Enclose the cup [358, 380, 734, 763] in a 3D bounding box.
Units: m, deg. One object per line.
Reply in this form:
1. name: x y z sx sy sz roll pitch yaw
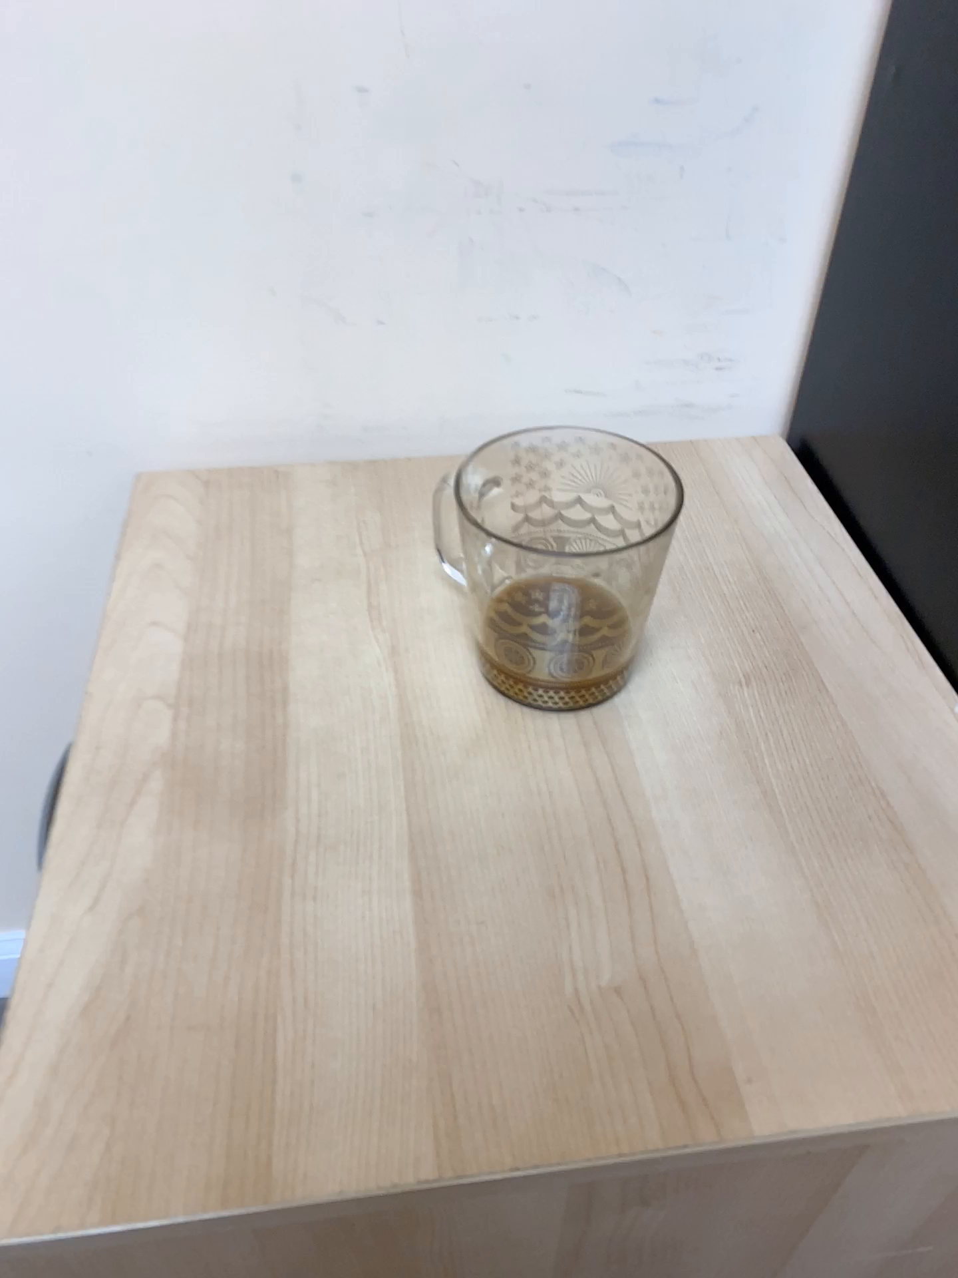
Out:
1. cup: 0.027 -0.036 0.442 0.125 0.098 0.099 32 50 31
